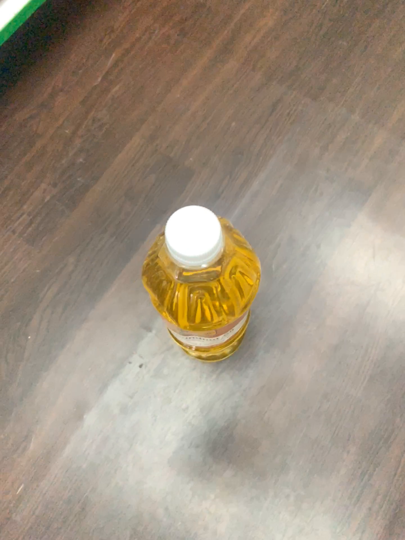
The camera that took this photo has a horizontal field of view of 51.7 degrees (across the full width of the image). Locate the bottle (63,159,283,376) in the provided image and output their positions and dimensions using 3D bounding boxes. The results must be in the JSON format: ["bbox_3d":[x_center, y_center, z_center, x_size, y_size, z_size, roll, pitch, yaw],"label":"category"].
[{"bbox_3d":[-0.005,0.026,0.319,0.090,0.260,0.070,10,72,7],"label":"bottle"}]
